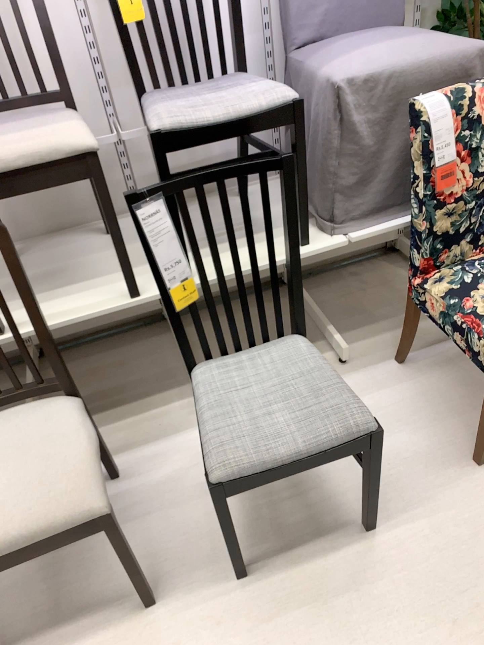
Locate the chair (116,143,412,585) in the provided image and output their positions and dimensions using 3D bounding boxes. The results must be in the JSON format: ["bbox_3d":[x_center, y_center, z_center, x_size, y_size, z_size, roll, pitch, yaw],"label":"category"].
[{"bbox_3d":[0.047,0.120,1.263,0.440,0.896,0.552,-16,39,-8],"label":"chair"}]
